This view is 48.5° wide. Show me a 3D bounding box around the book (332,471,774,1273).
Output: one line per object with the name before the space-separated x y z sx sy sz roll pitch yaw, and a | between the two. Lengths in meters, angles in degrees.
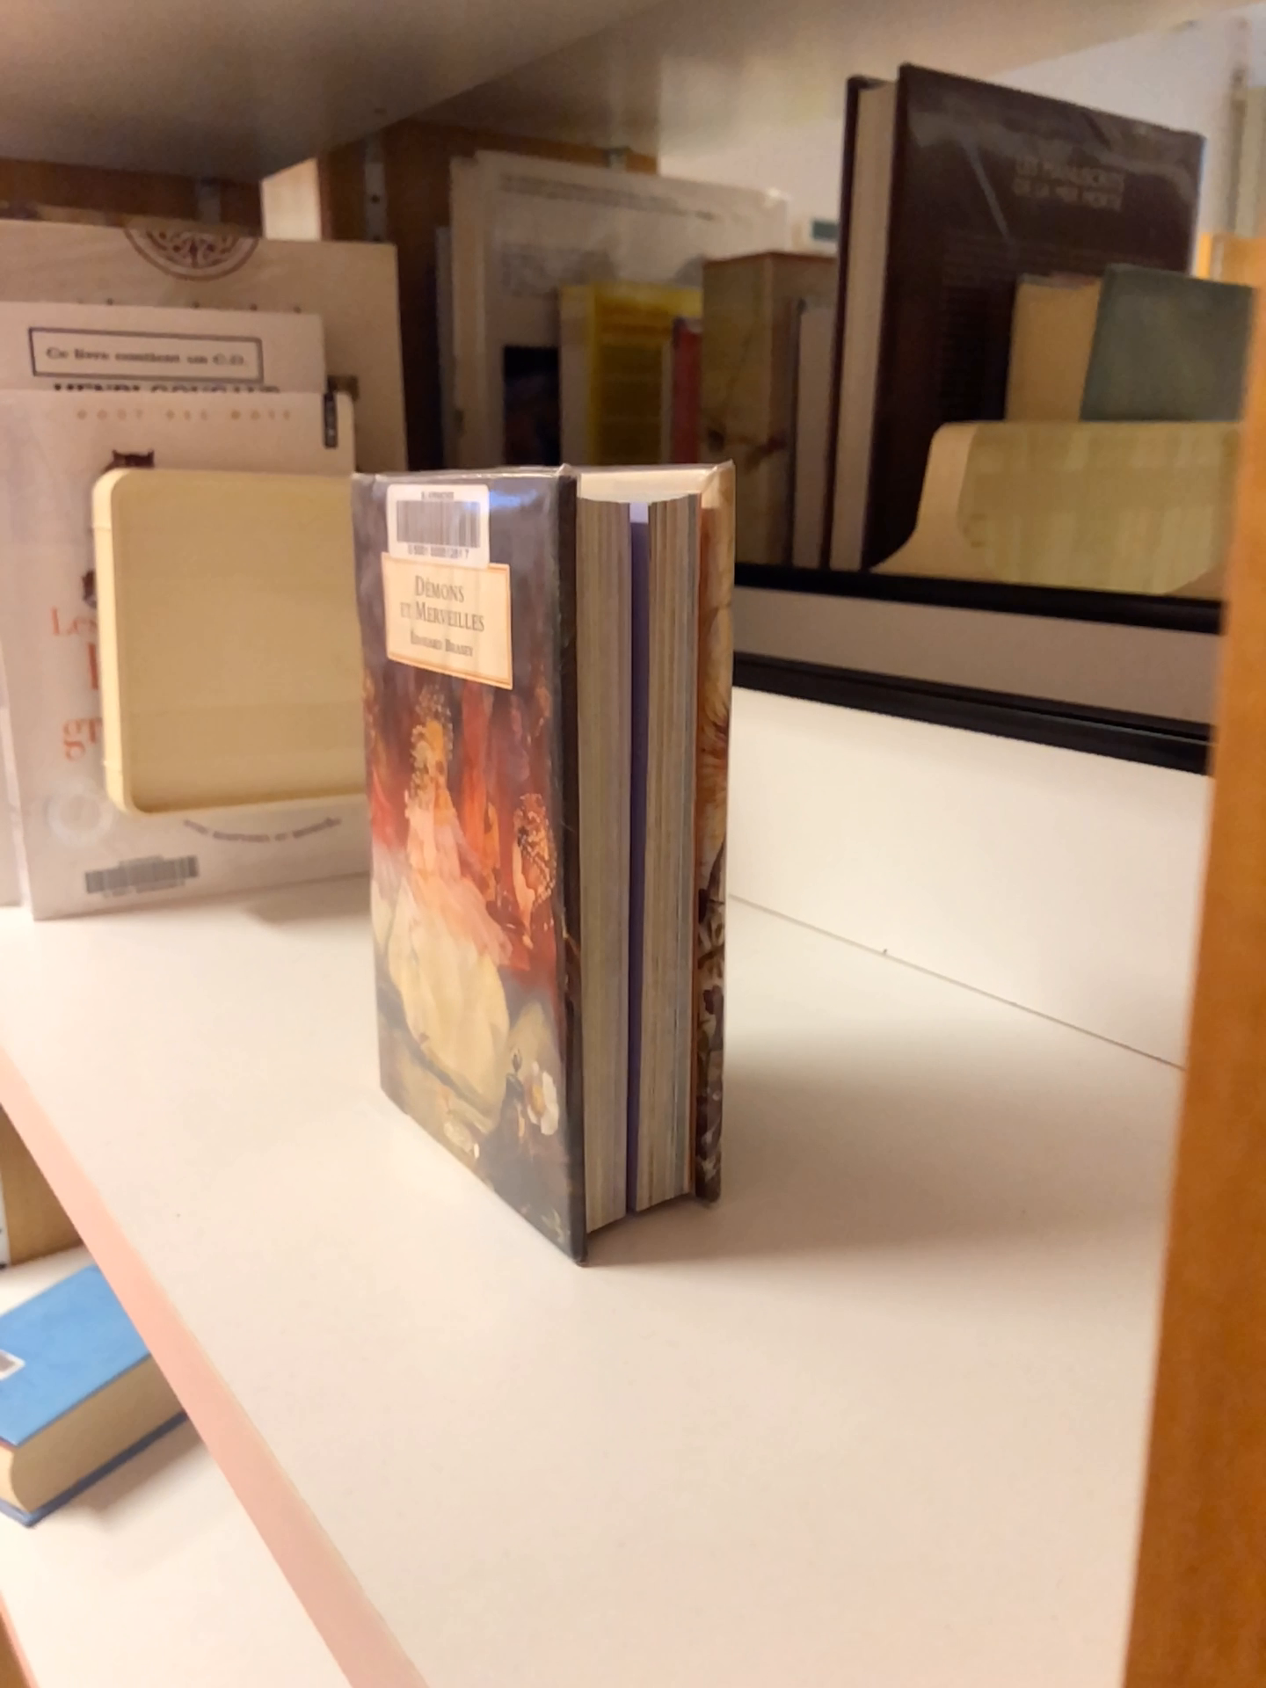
book | -0.023 -0.004 0.323 0.047 0.156 0.114 -8 16 -31
